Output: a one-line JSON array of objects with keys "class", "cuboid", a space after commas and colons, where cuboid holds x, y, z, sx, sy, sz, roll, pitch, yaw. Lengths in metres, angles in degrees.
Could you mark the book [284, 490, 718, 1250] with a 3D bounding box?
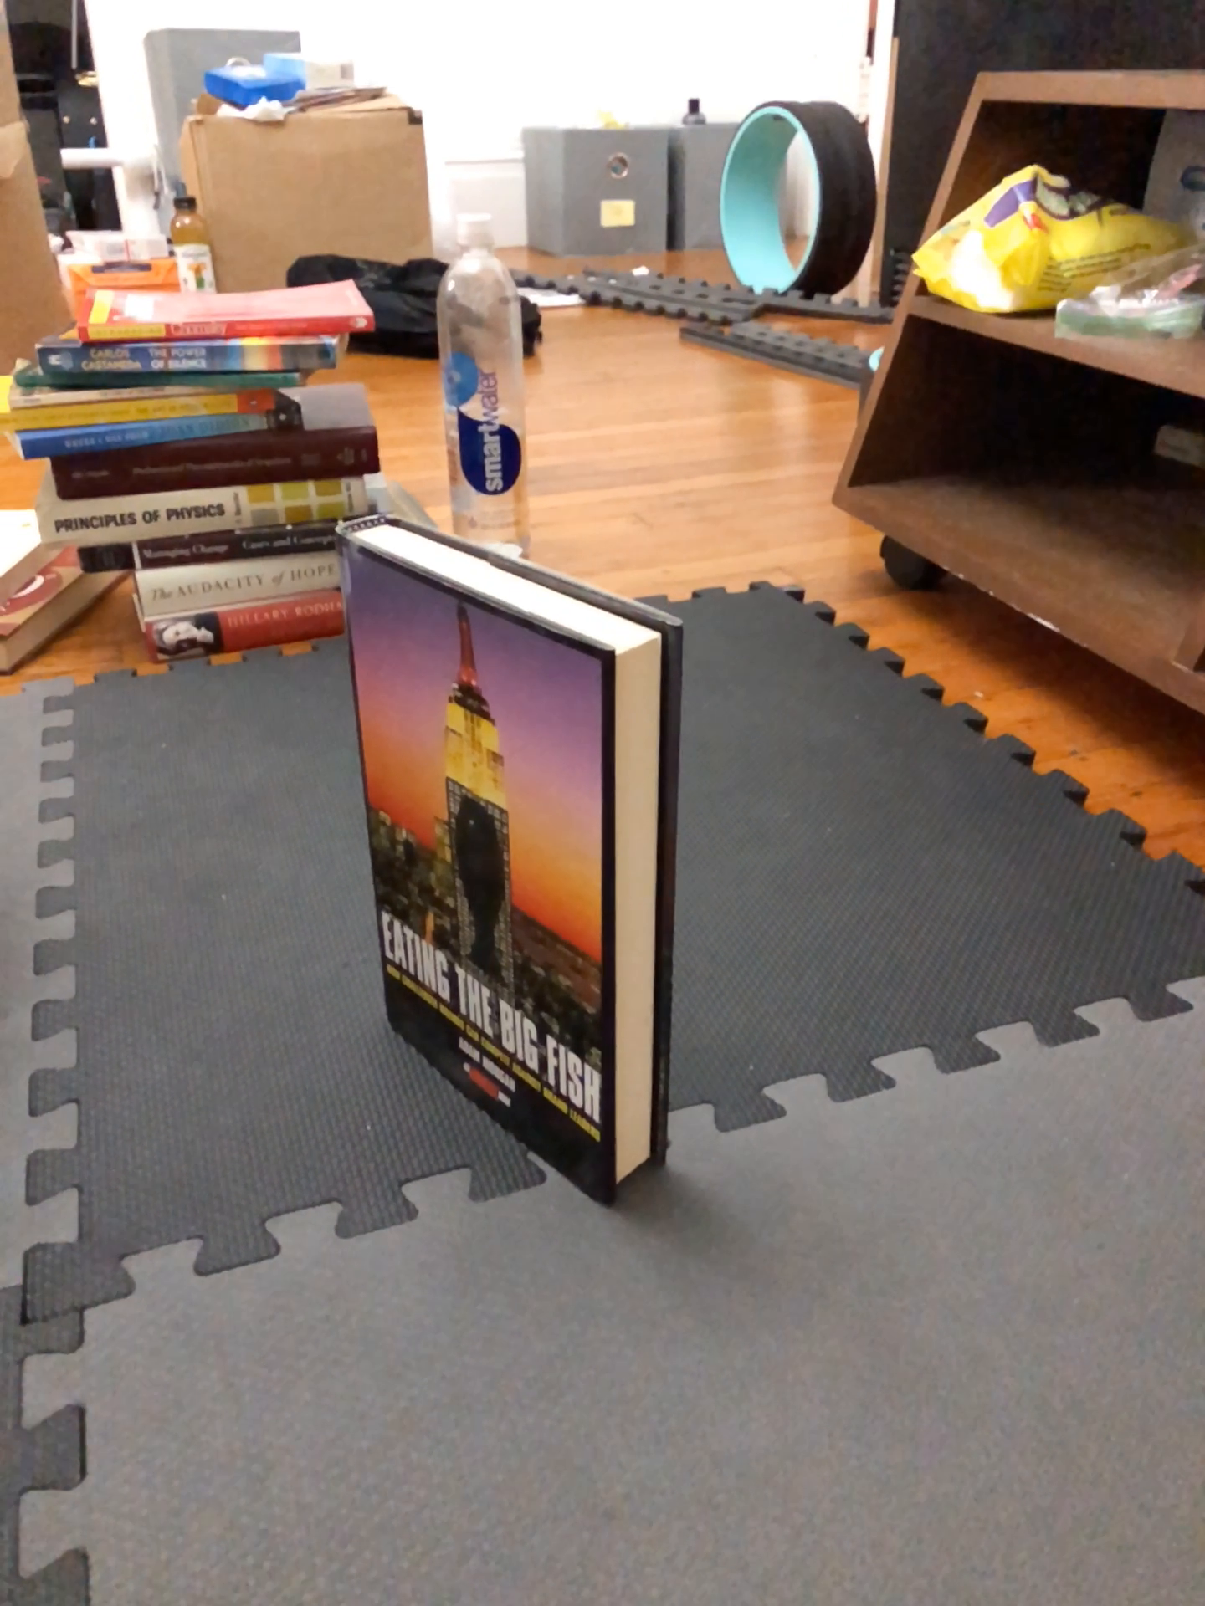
[{"class": "book", "cuboid": [-0.039, 0.025, 0.532, 0.050, 0.258, 0.180, -26, 38, -36]}]
